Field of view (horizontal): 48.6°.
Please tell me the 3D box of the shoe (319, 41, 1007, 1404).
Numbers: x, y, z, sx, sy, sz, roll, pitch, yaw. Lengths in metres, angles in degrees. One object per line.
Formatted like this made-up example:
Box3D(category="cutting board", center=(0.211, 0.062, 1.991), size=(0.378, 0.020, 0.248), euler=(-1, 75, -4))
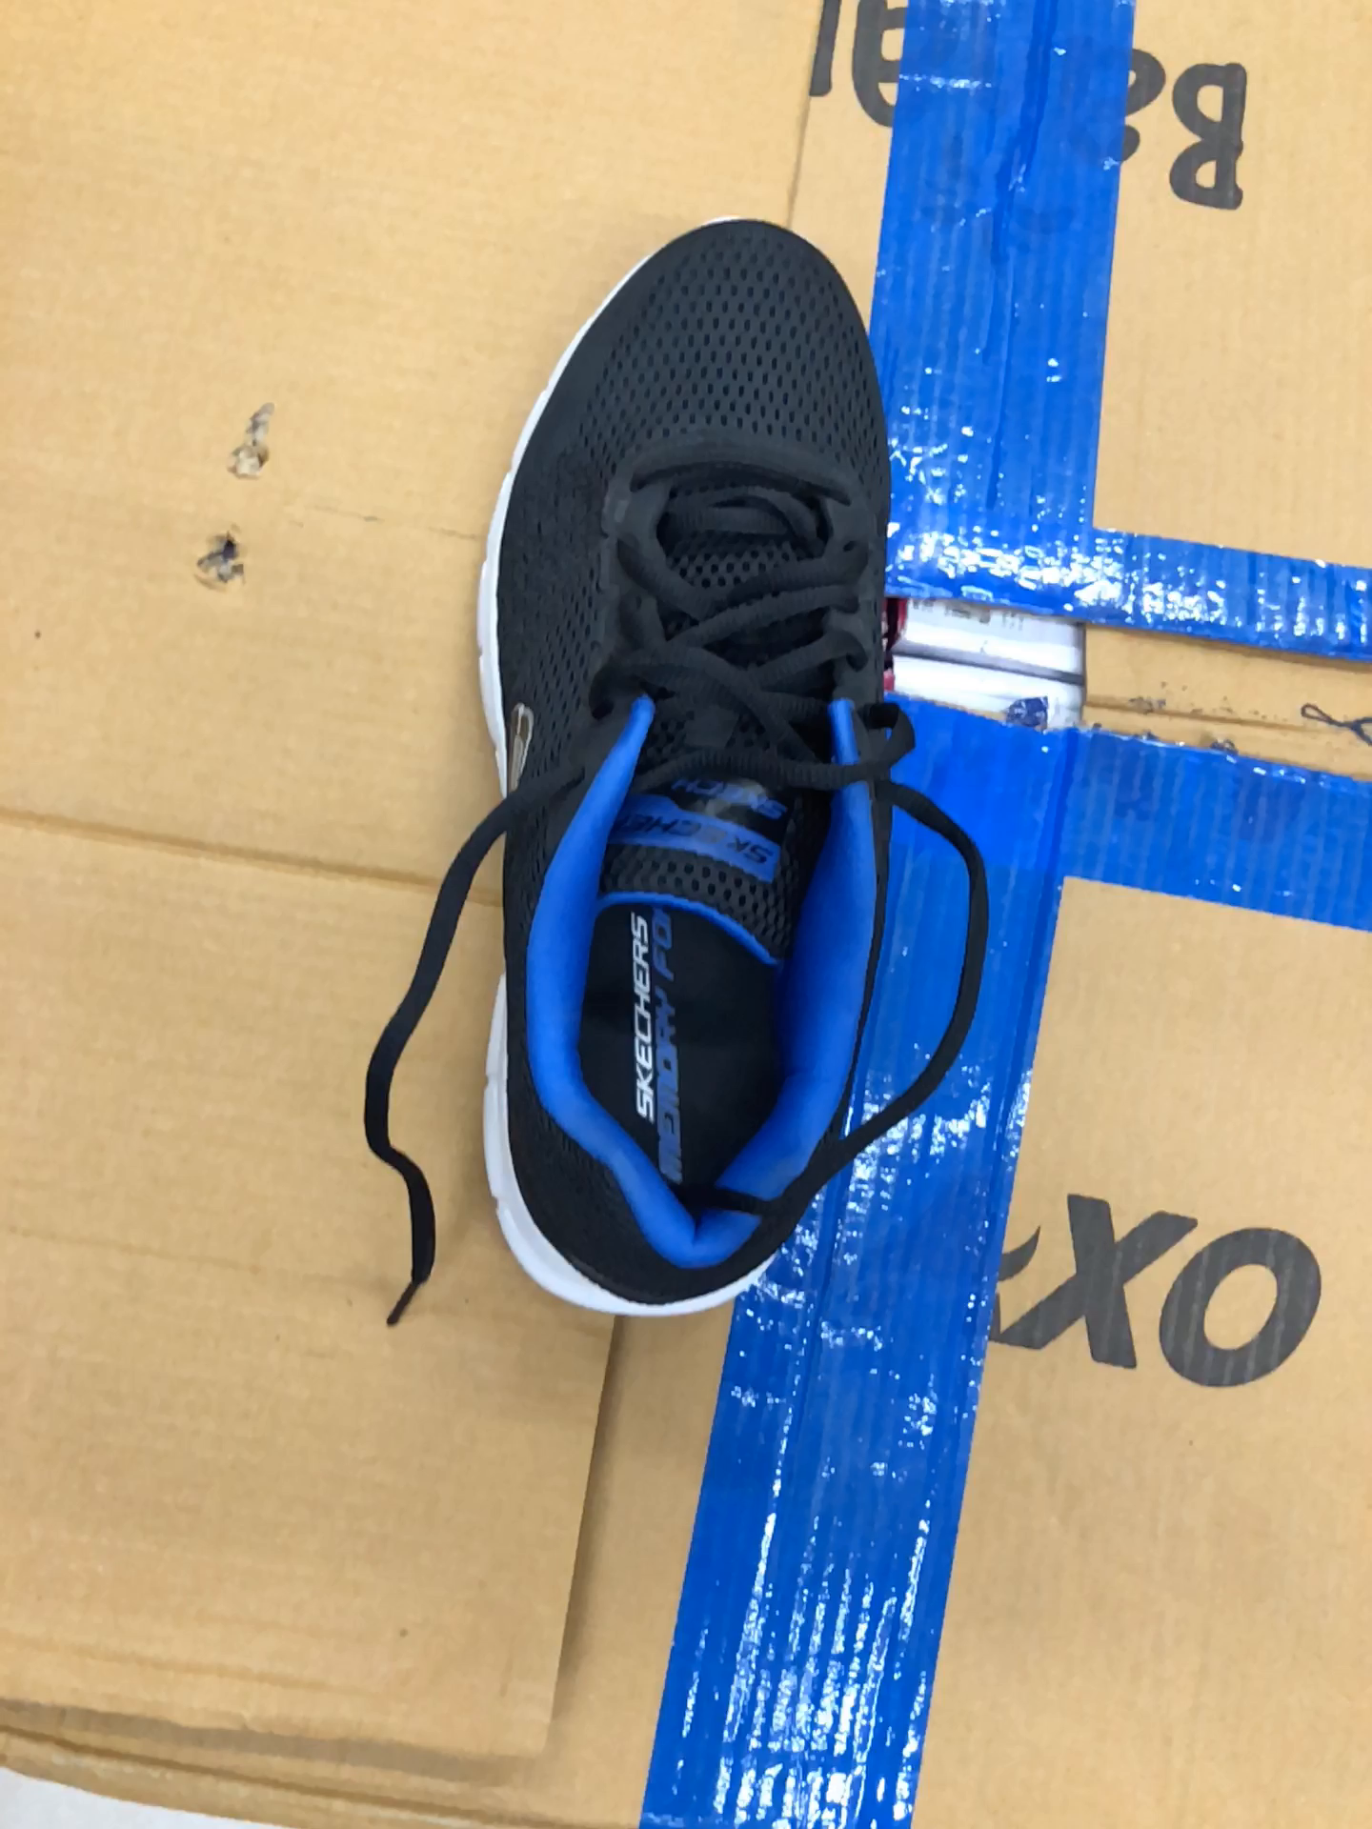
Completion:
Box3D(category="shoe", center=(-0.003, -0.040, 0.366), size=(0.114, 0.106, 0.278), euler=(6, 82, -3))
